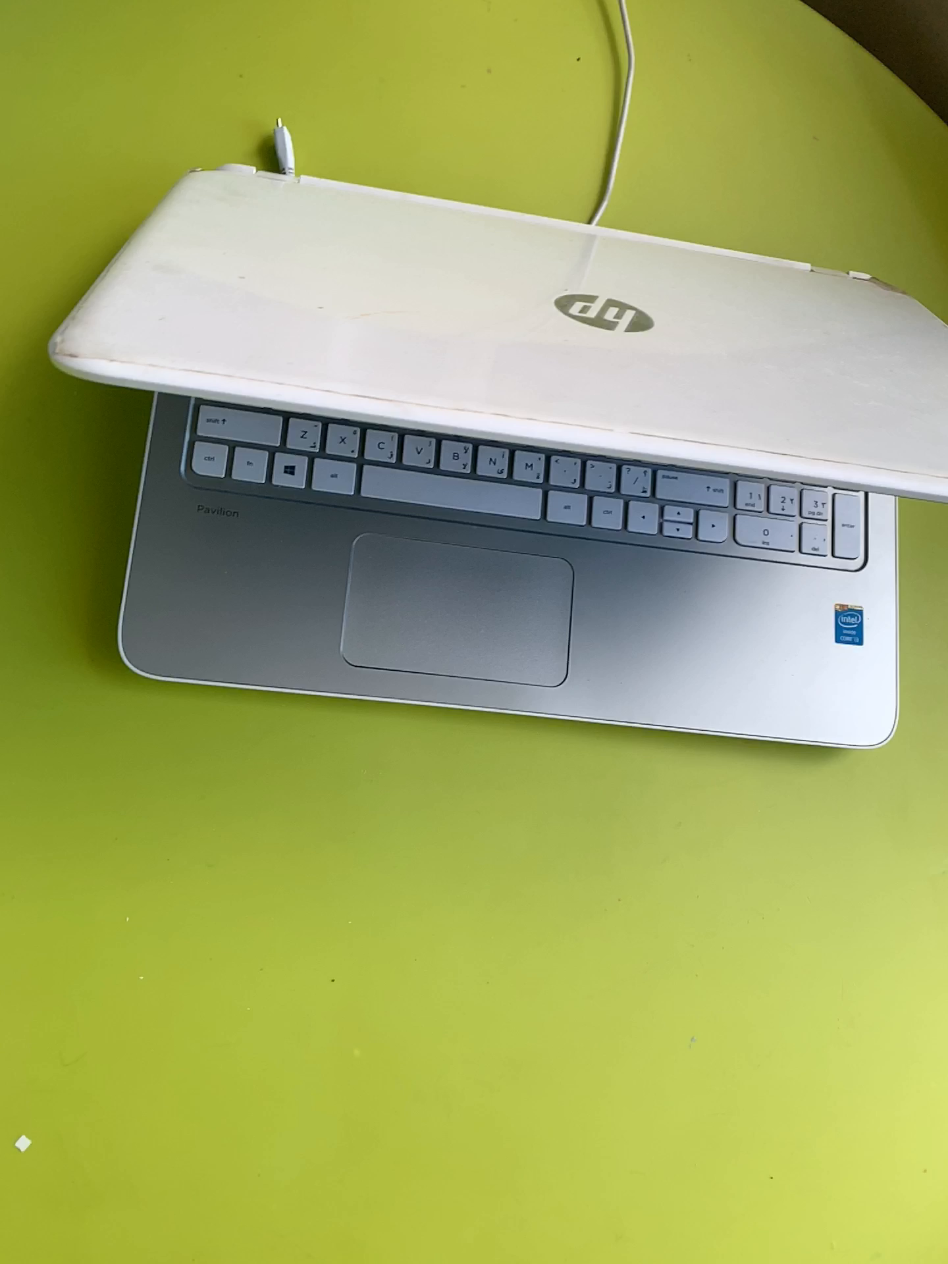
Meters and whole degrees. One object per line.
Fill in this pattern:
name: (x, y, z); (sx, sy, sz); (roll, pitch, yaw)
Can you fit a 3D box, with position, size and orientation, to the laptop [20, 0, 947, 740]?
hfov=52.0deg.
laptop: (0.051, -0.100, 0.402); (0.367, 0.163, 0.243); (6, 78, -9)
